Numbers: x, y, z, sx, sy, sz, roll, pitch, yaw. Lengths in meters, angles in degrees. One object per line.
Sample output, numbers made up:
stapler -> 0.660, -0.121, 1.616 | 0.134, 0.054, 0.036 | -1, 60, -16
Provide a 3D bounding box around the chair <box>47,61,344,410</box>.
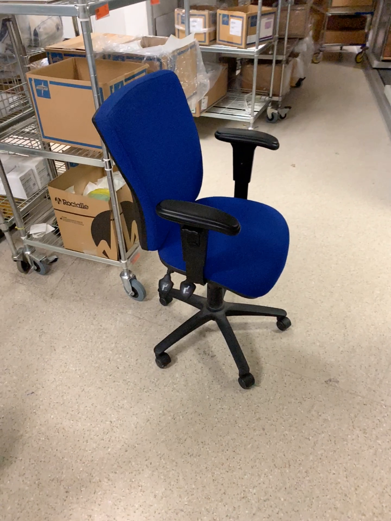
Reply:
chair -> 0.061, -0.117, 1.461 | 0.667, 0.949, 0.684 | 13, 41, 18
